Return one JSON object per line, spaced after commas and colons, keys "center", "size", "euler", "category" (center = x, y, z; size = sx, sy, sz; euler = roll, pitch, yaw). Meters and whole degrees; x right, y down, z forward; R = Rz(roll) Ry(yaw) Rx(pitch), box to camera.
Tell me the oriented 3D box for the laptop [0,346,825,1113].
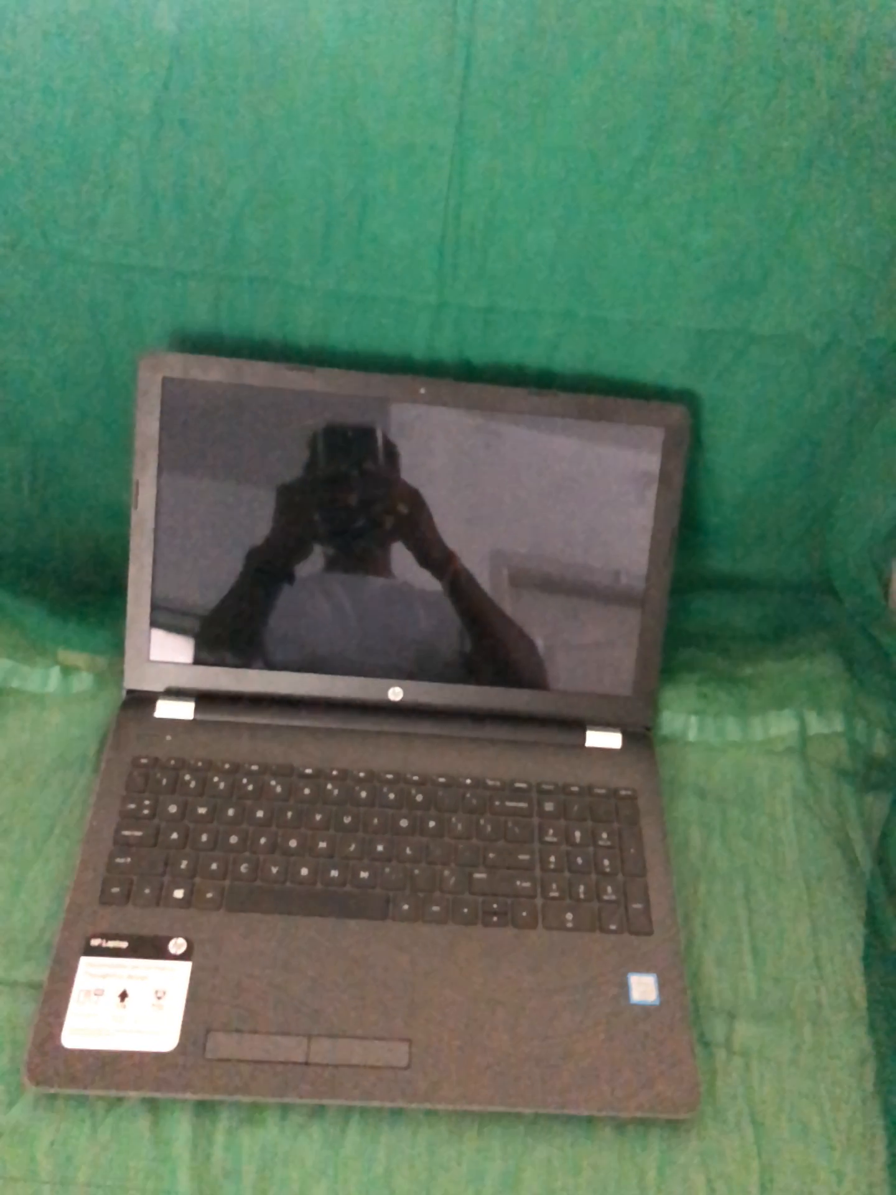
{"center": [-0.028, 0.064, 0.617], "size": [0.378, 0.179, 0.416], "euler": [5, 51, -4], "category": "laptop"}
